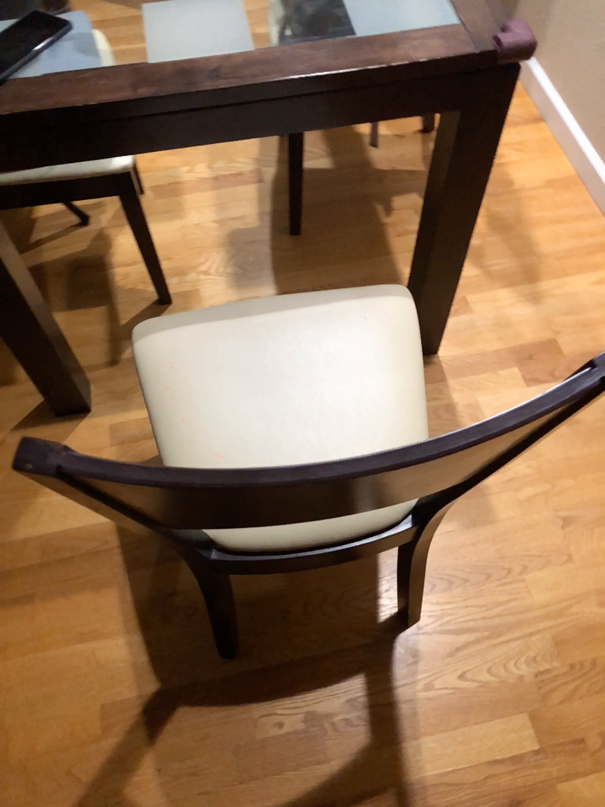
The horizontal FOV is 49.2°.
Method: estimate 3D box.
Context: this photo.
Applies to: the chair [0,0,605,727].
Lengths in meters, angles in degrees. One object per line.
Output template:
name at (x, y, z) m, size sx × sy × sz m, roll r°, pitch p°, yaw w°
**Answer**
chair at (-0.009, 0.035, 1.031) m, size 0.500 × 1.006 × 0.642 m, roll -13°, pitch 59°, yaw -7°
